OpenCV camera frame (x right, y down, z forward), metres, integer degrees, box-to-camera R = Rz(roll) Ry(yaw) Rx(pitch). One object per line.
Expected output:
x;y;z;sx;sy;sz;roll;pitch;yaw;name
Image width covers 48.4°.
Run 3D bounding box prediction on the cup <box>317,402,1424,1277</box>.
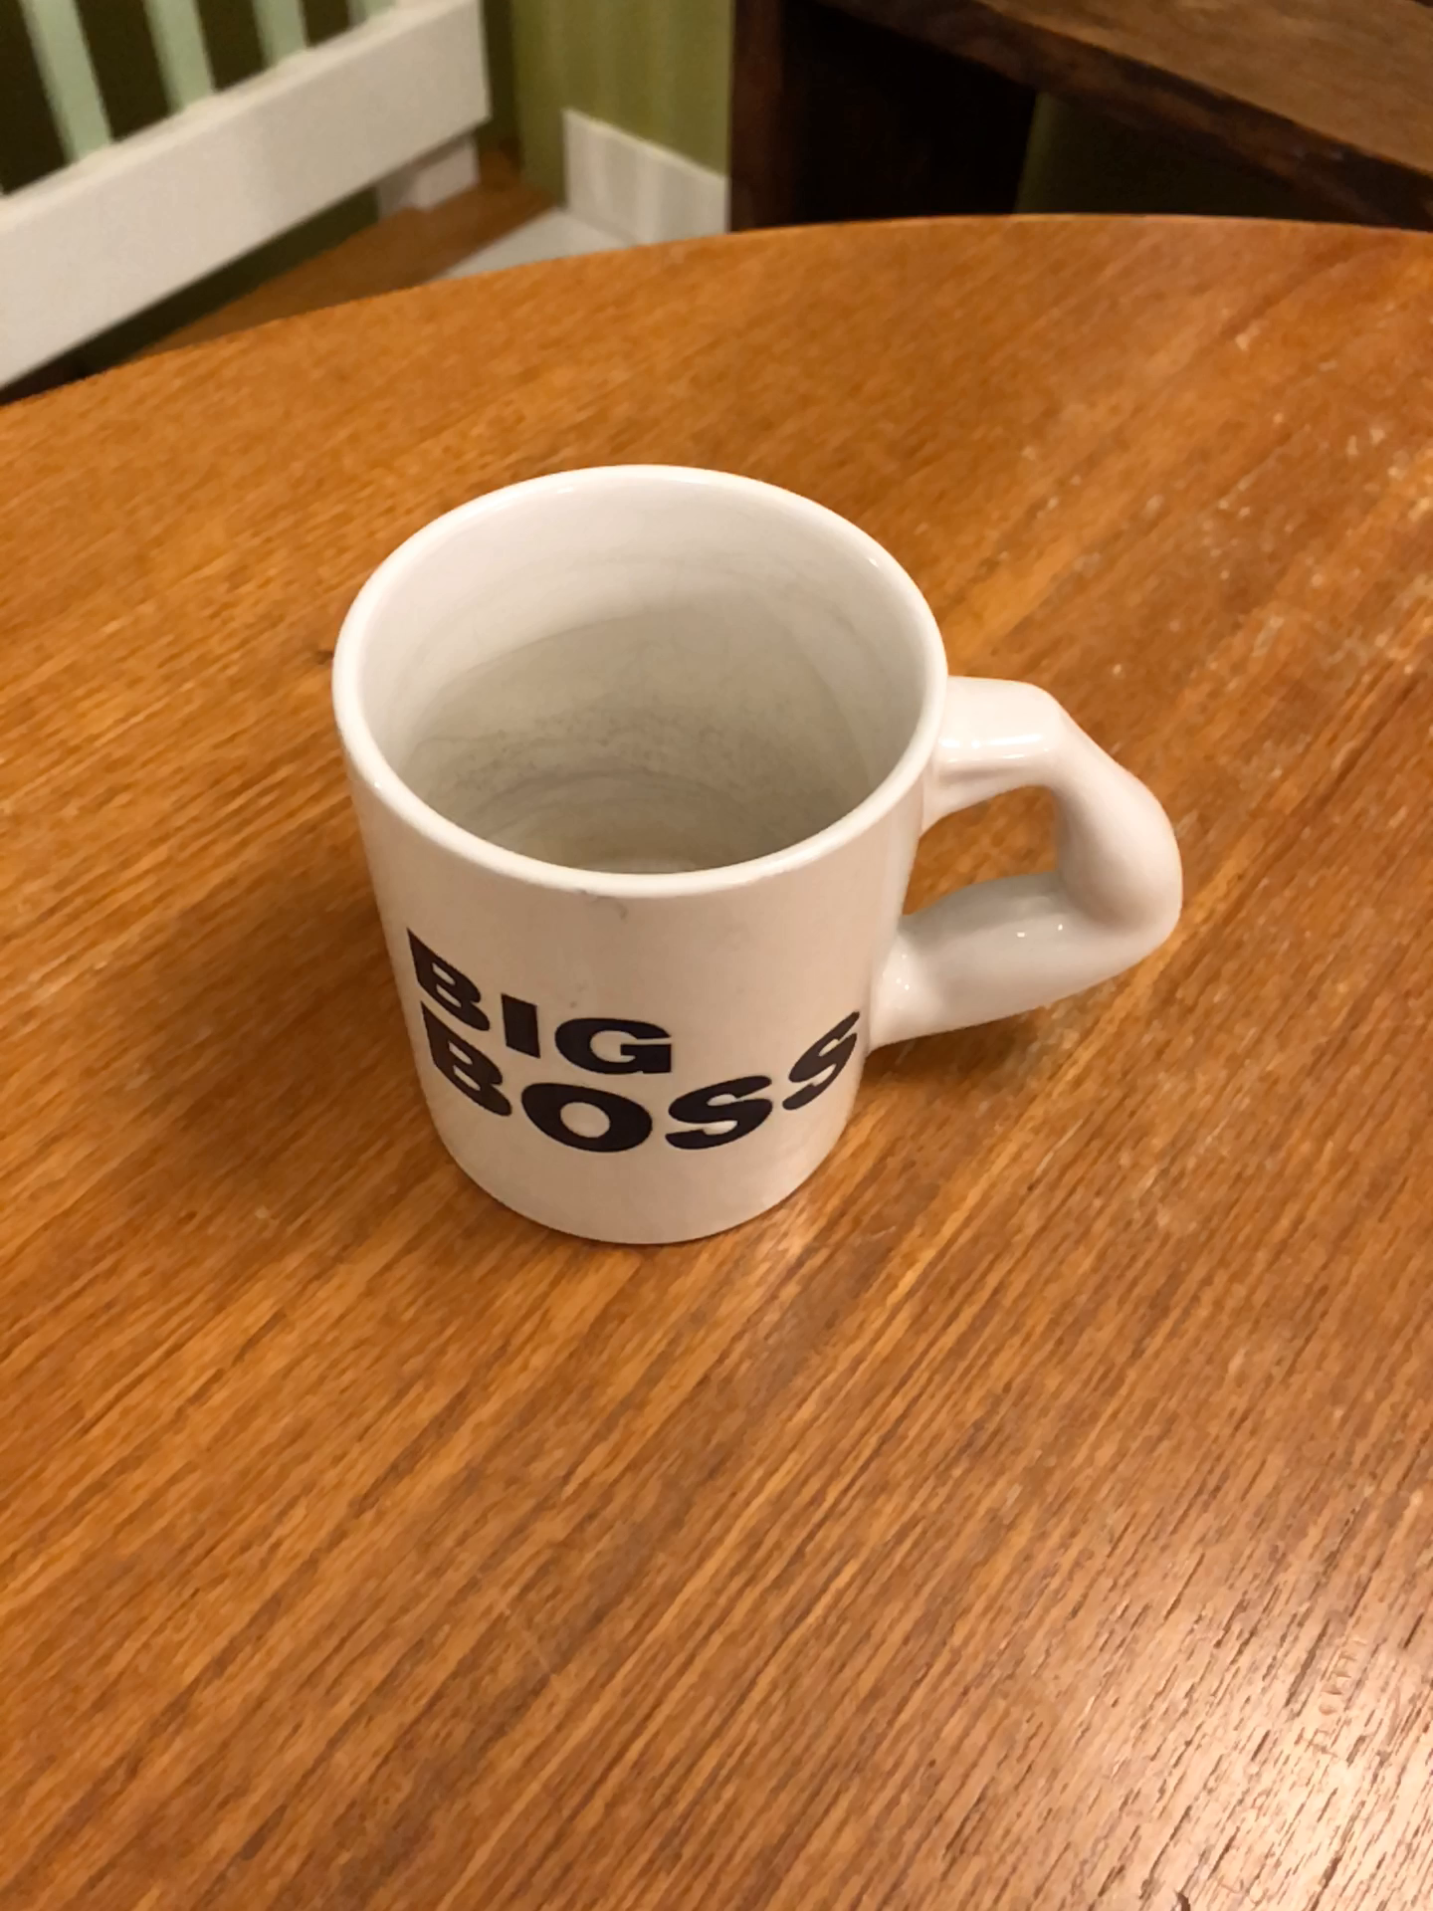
0.014;-0.017;0.261;0.138;0.100;0.088;-6;54;-6;cup
